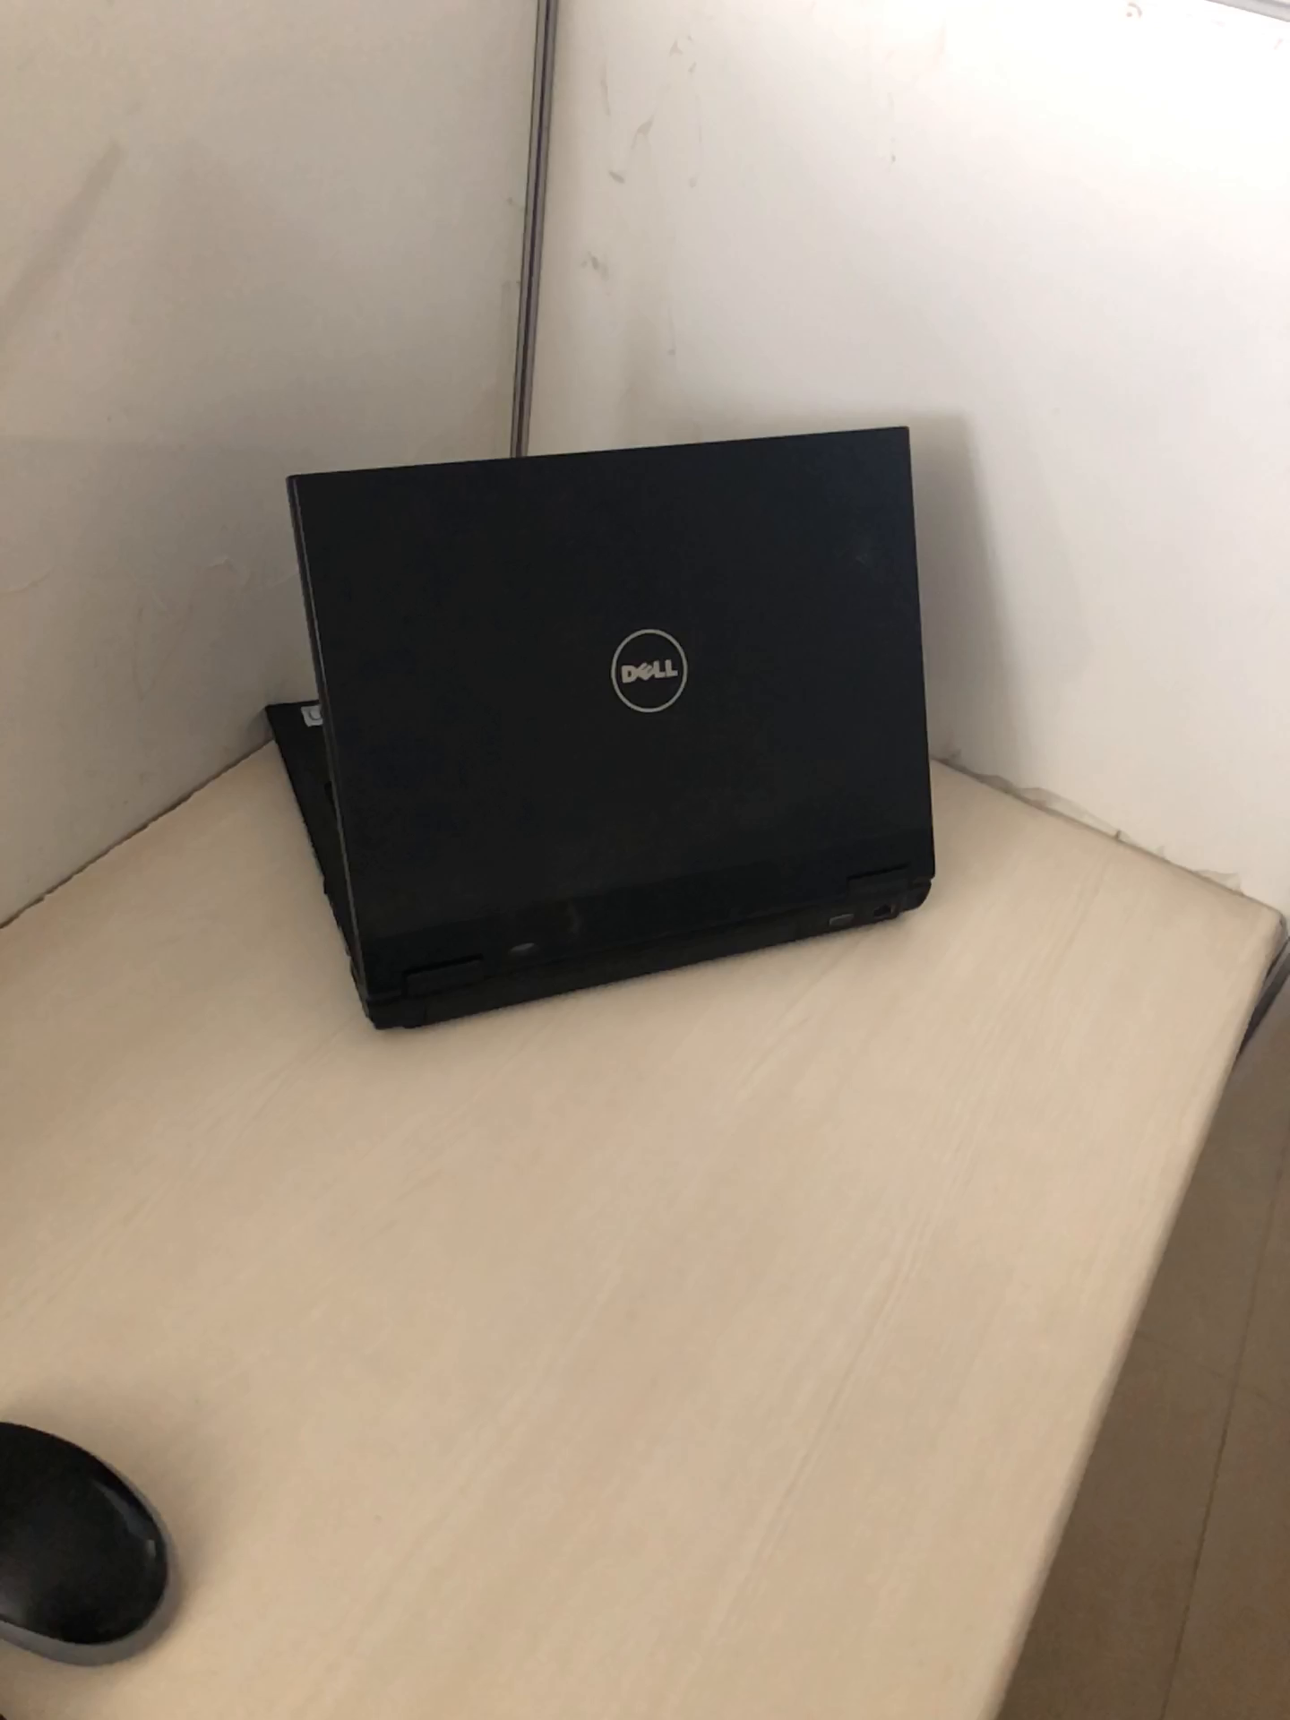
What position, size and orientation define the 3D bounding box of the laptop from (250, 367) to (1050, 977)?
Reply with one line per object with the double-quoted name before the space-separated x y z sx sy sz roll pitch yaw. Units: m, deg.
"laptop" -0.017 -0.111 0.714 0.304 0.190 0.231 -10 42 -21
